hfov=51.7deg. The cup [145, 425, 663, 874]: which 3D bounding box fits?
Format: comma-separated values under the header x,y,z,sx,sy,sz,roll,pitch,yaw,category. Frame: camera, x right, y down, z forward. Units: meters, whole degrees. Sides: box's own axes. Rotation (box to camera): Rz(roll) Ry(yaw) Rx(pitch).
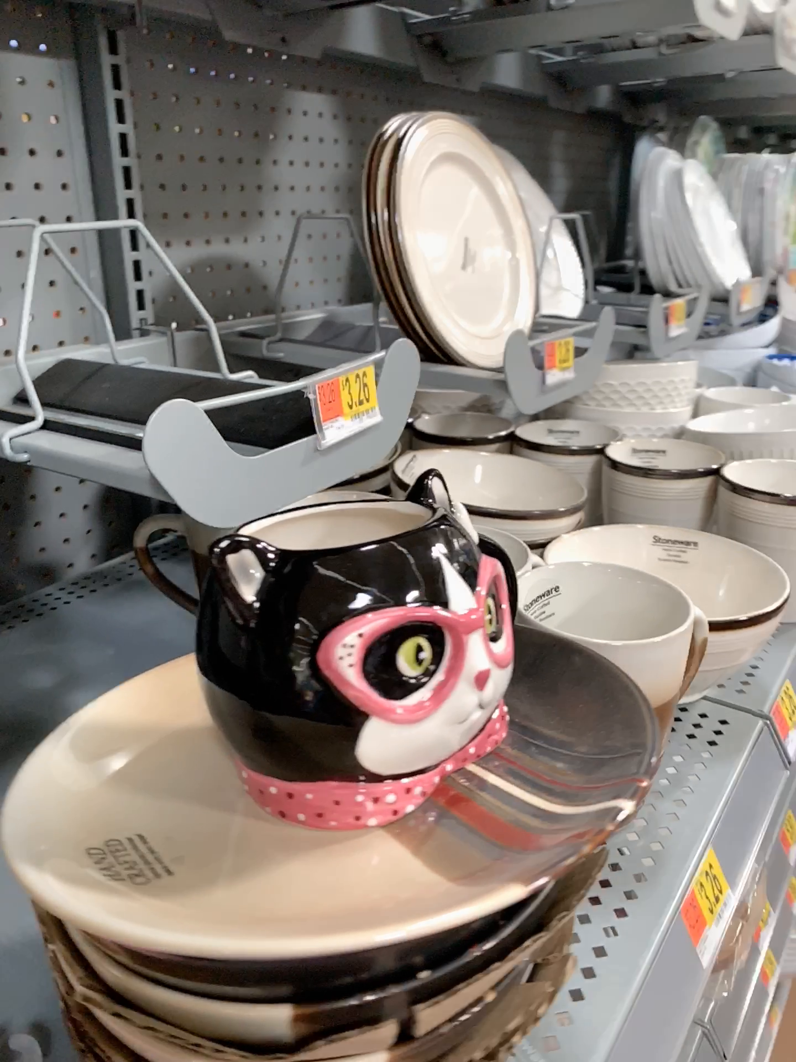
x,y,z,sx,sy,sz,roll,pitch,yaw,category
0.008,0.022,0.279,0.096,0.074,0.144,18,29,38,cup
